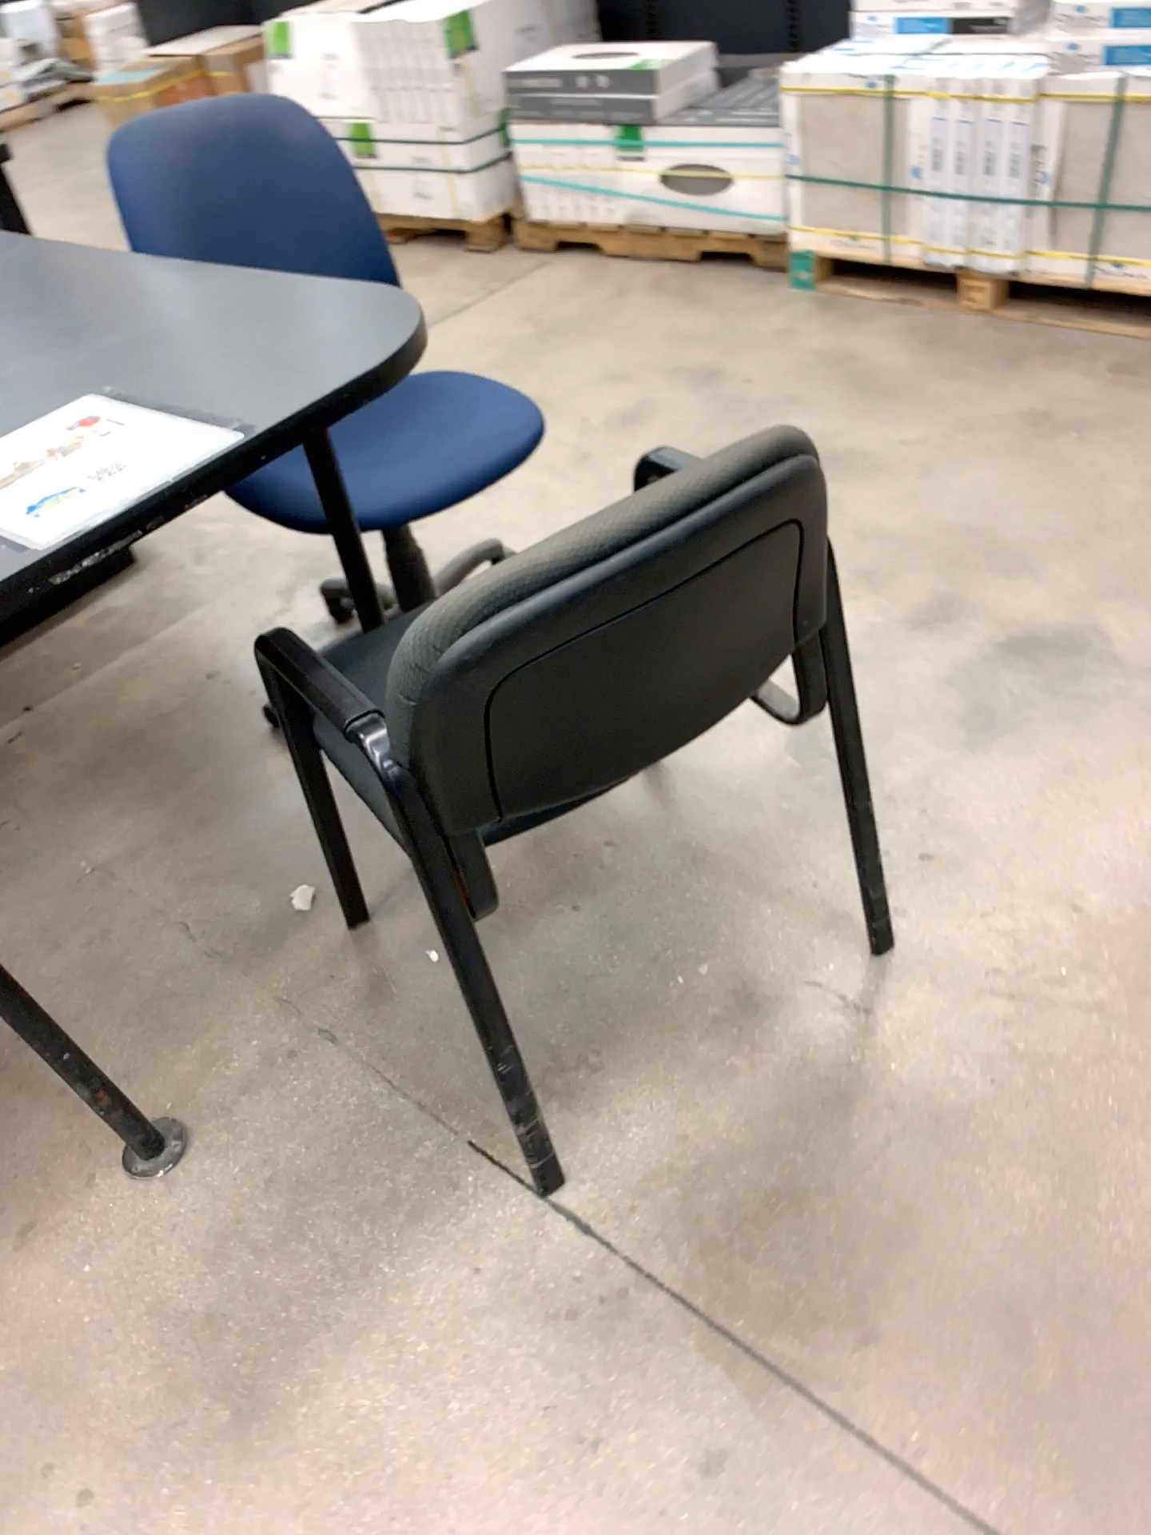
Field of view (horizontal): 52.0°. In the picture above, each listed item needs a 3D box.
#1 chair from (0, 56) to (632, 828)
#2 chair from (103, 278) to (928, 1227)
[{"bbox_3d":[-0.433,-0.565,1.978,0.644,0.918,0.718,-30,43,-19],"label":"chair"},{"bbox_3d":[-0.032,-0.043,1.394,0.605,0.750,0.587,-30,43,-20],"label":"chair"}]
